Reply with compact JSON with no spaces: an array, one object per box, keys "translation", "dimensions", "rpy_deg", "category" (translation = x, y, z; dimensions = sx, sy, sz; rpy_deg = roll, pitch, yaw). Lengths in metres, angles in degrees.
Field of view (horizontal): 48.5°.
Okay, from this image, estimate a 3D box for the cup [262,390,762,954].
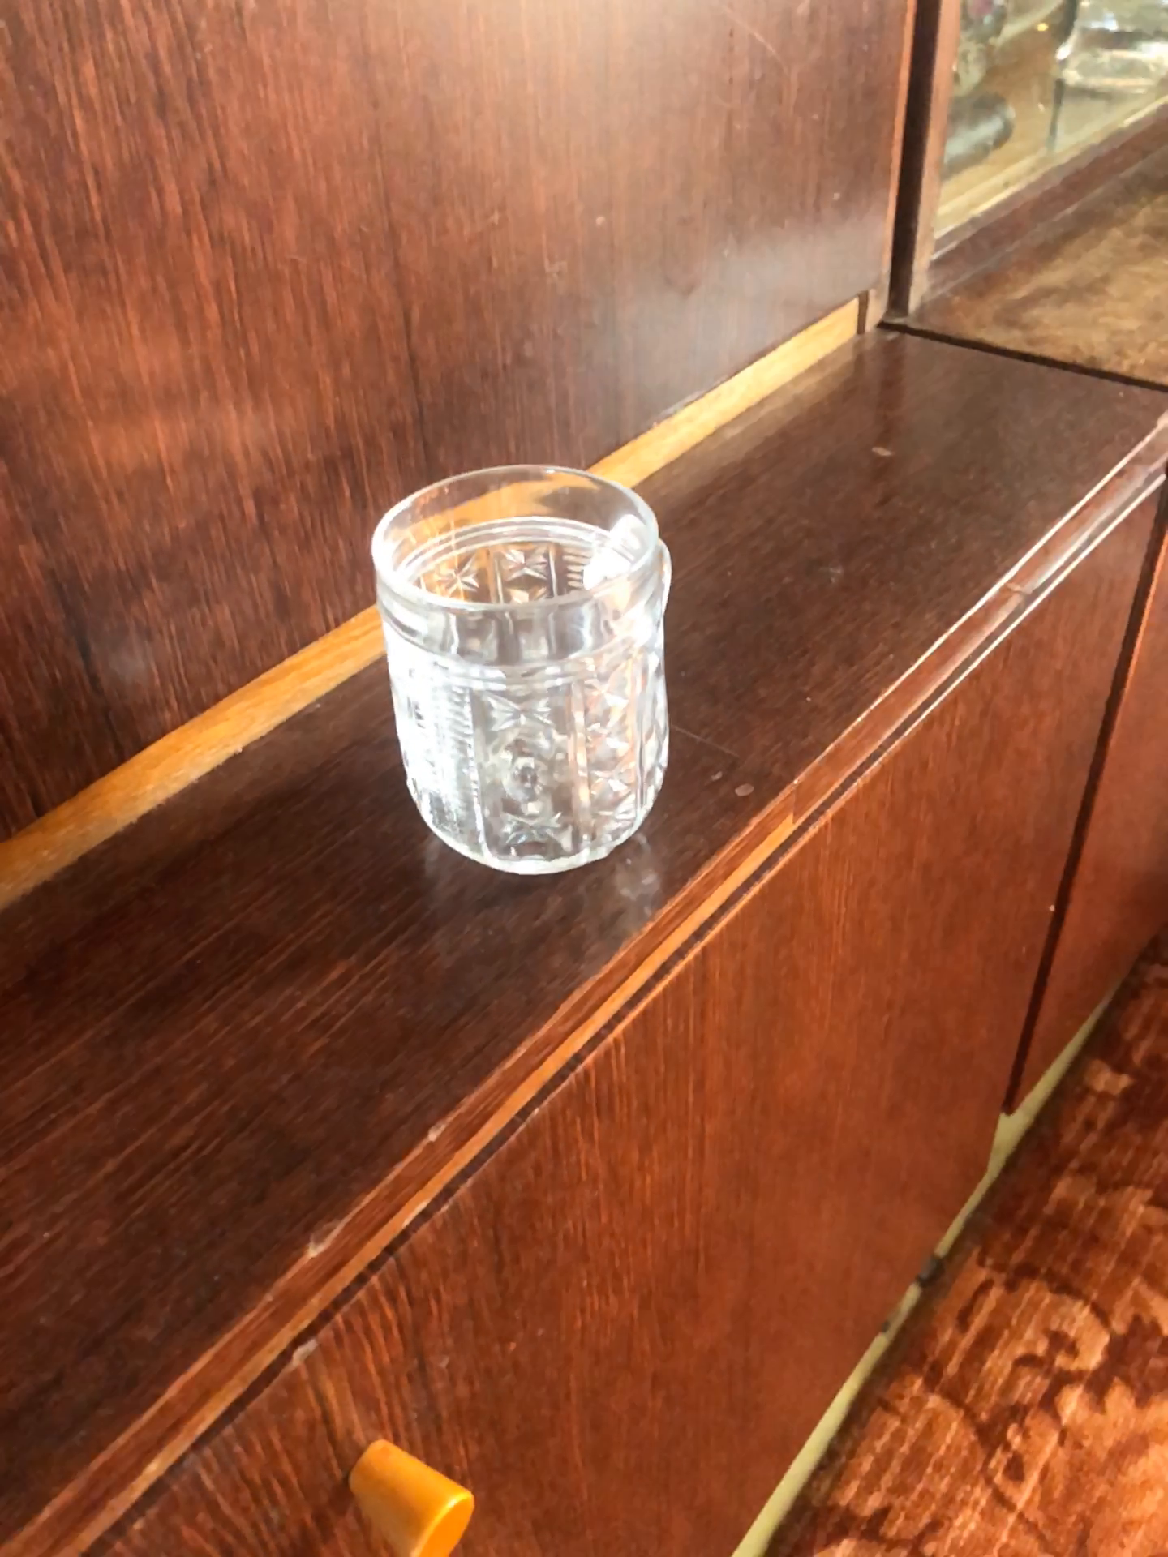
[{"translation":[-0.010,-0.030,0.311],"dimensions":[0.070,0.080,0.100],"rpy_deg":[16,44,22],"category":"cup"}]
